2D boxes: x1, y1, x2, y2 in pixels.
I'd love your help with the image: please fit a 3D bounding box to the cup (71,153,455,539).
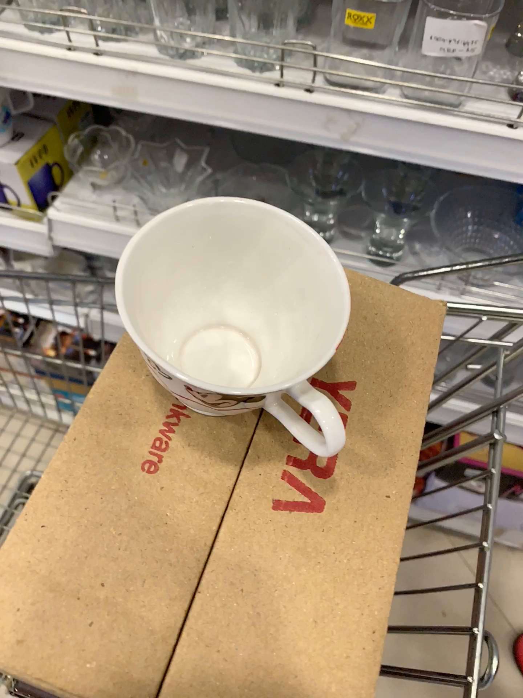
[{"bbox_3d":[-0.004,-0.002,0.197,0.080,0.060,0.100,-28,67,-17],"label":"cup"}]
